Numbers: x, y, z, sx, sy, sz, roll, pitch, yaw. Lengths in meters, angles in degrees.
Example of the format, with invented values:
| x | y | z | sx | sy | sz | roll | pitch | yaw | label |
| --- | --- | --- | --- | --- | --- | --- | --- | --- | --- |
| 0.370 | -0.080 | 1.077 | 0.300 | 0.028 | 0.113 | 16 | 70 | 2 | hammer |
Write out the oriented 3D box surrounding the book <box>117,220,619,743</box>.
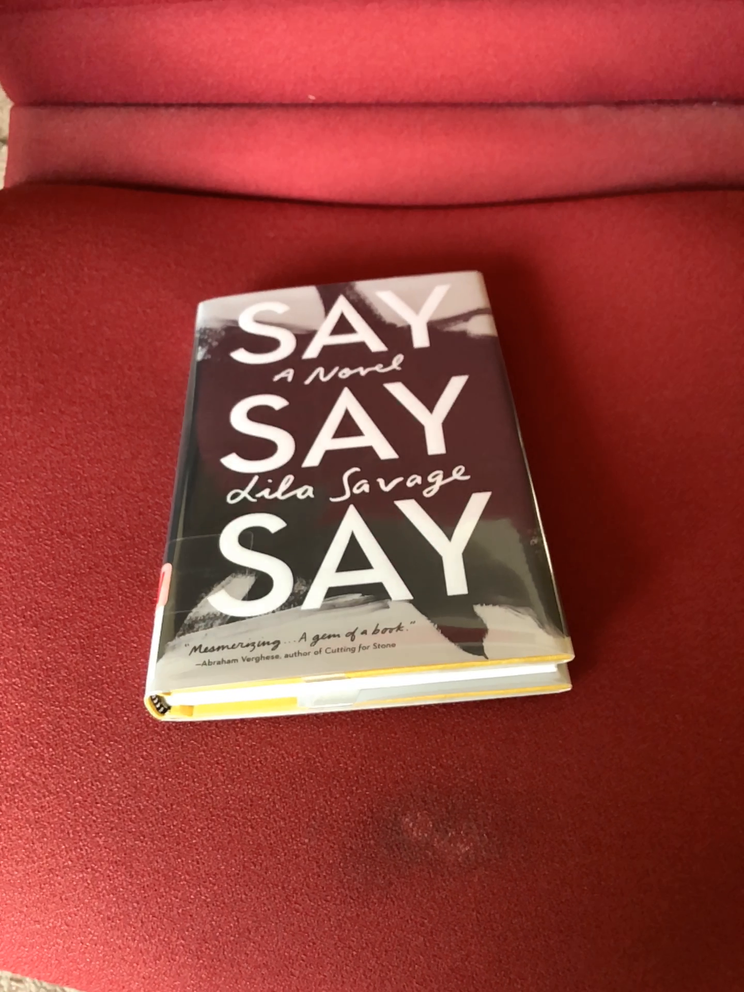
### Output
| x | y | z | sx | sy | sz | roll | pitch | yaw | label |
| --- | --- | --- | --- | --- | --- | --- | --- | --- | --- |
| -0.007 | -0.020 | 0.325 | 0.150 | 0.040 | 0.210 | -5 | 54 | 0 | book |
